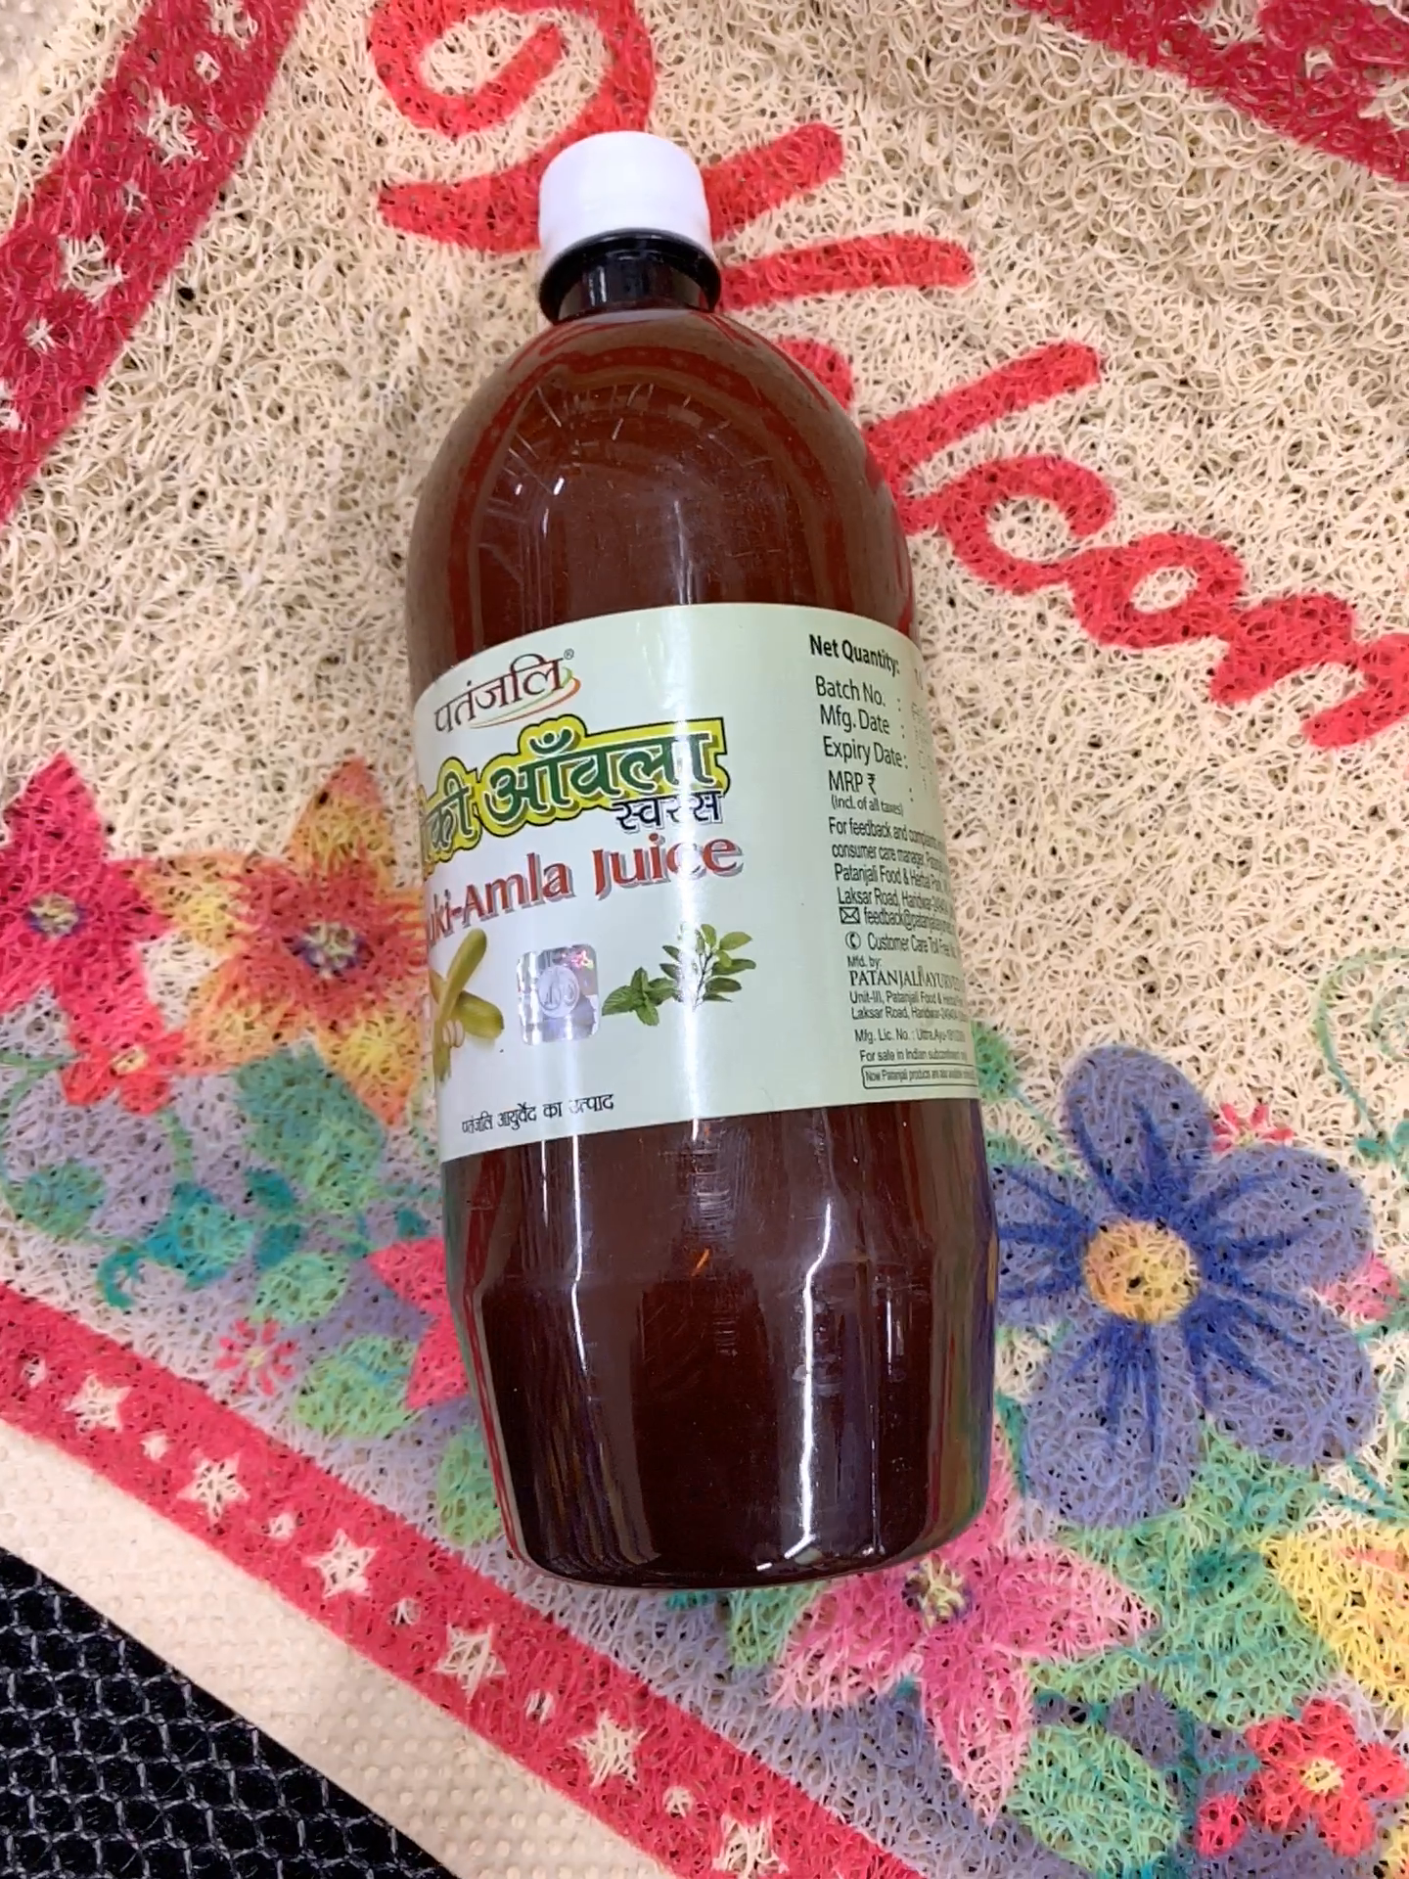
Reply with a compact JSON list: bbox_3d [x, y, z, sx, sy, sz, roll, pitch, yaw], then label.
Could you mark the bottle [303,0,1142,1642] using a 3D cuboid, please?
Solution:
[{"bbox_3d":[-0.005,-0.036,0.237,0.080,0.080,0.250,3,76,-38],"label":"bottle"}]
